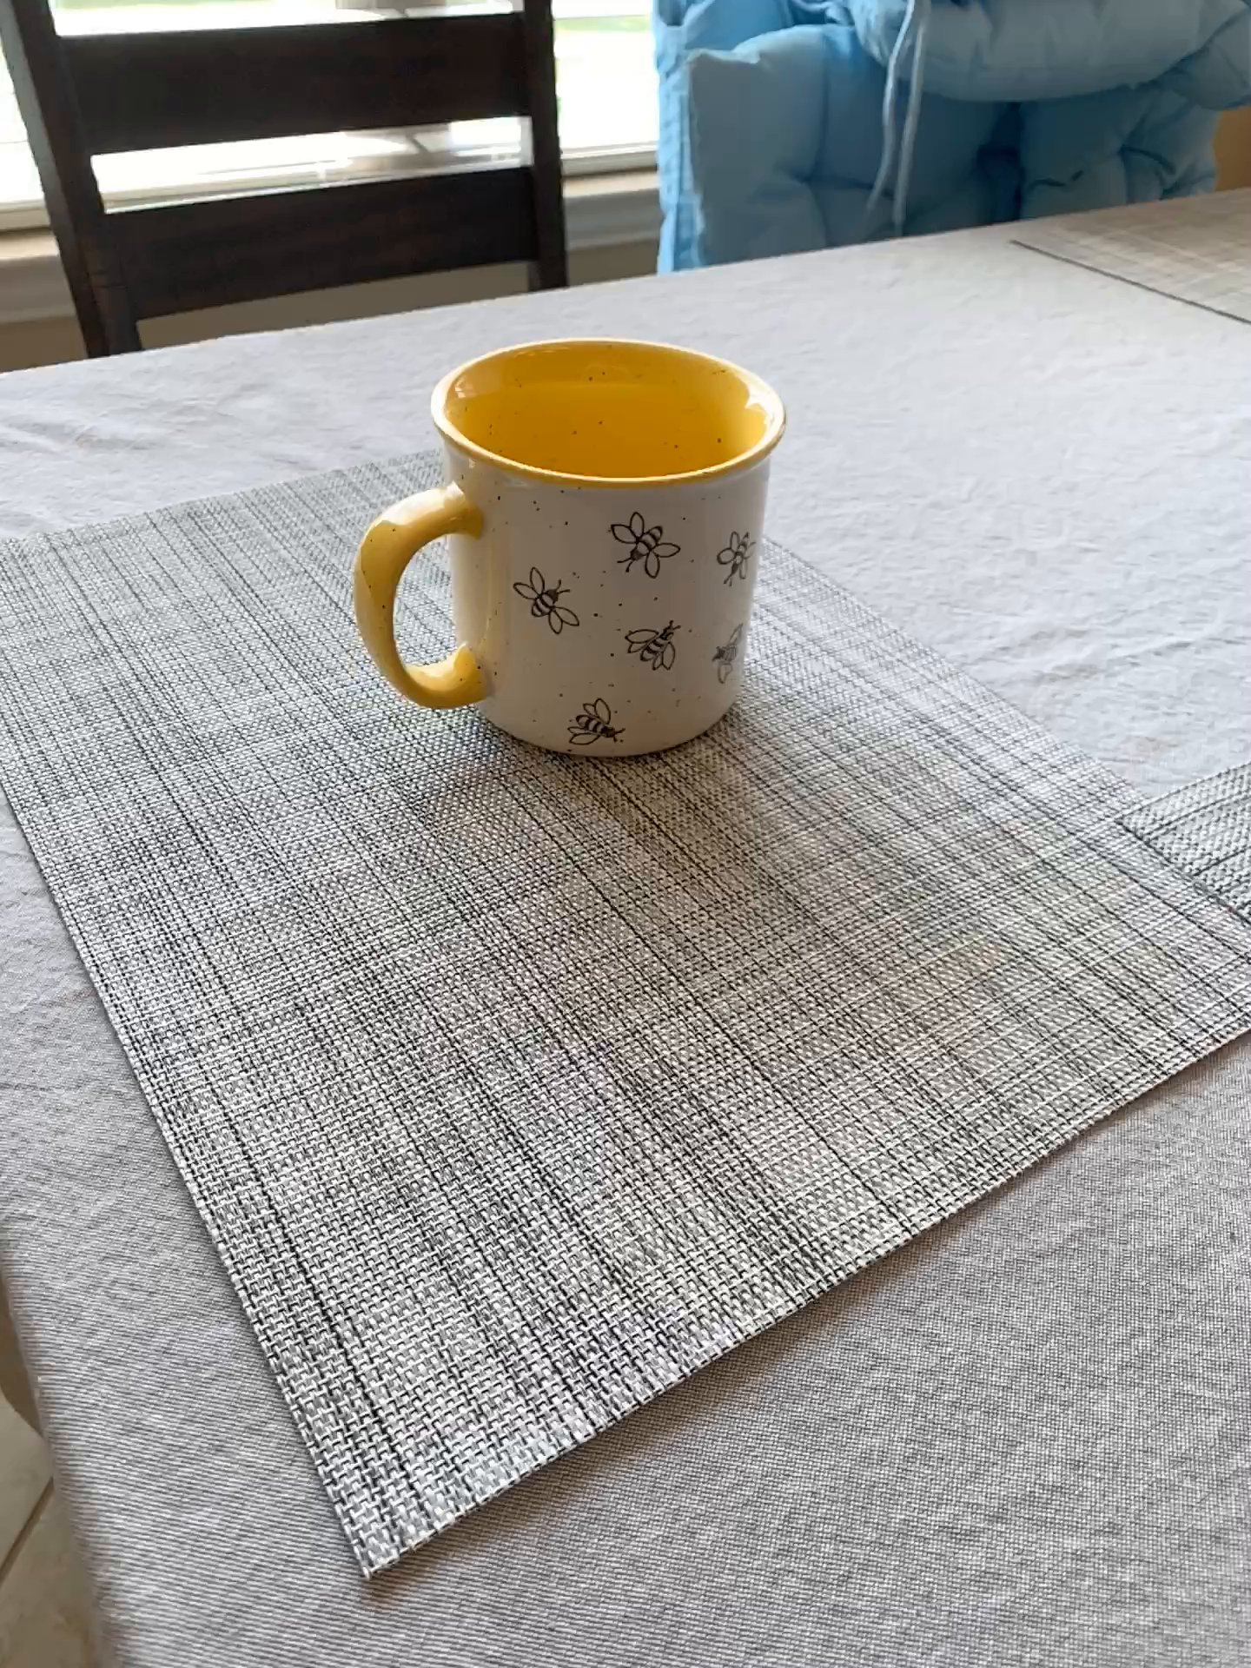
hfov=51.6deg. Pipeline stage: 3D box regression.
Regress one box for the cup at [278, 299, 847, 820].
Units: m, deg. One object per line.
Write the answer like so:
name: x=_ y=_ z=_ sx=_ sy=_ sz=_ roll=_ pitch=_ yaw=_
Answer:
cup: x=-0.024 y=-0.097 z=0.428 sx=0.136 sy=0.107 sz=0.114 roll=-18 pitch=44 yaw=-25
